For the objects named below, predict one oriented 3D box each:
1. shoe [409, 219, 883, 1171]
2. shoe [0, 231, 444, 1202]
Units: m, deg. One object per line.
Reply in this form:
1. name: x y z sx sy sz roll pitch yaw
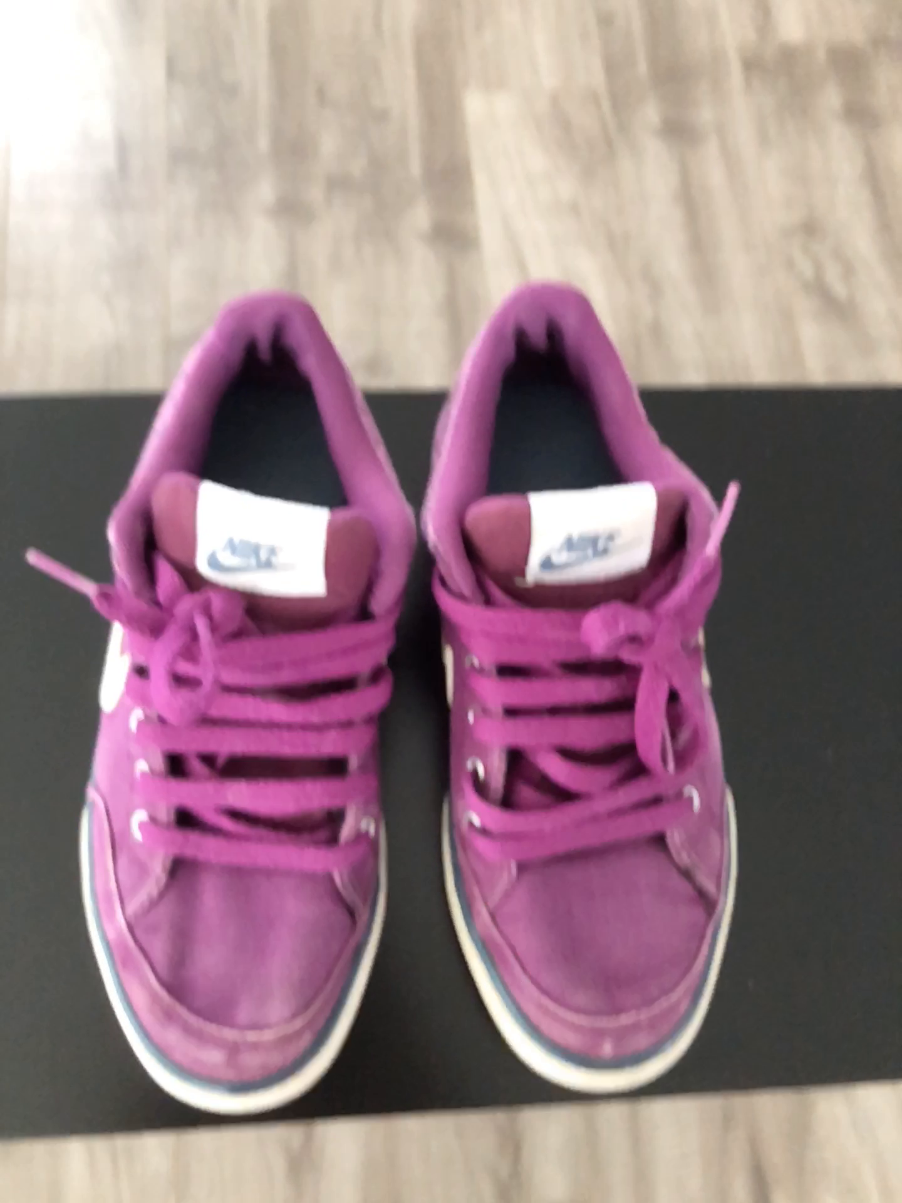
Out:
1. shoe: 0.041 0.021 0.311 0.100 0.100 0.250 0 72 -5
2. shoe: -0.059 0.026 0.296 0.100 0.100 0.240 0 72 -5
